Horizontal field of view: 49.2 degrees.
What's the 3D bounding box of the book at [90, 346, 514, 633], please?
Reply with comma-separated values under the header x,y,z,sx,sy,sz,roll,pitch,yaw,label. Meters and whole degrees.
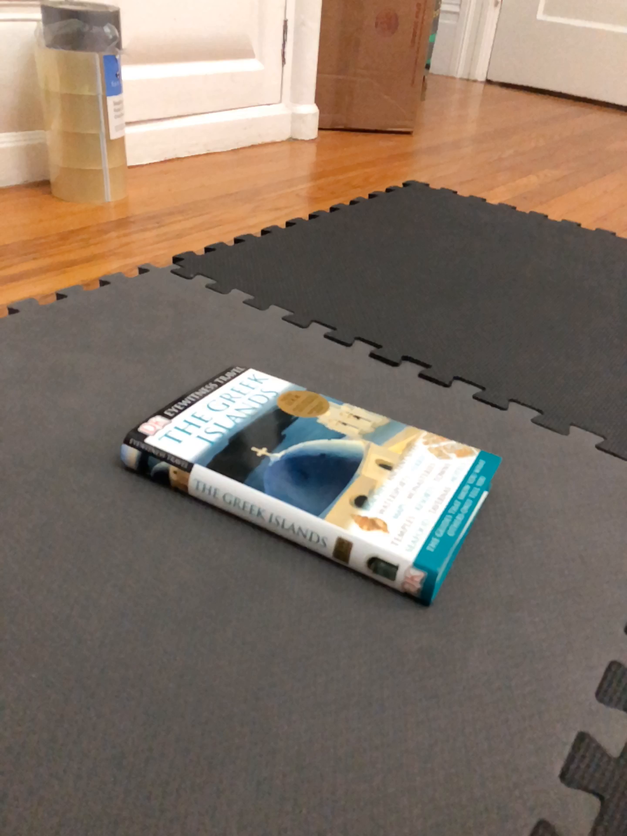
x,y,z,sx,sy,sz,roll,pitch,yaw,label
-0.004,0.029,0.471,0.240,0.030,0.161,21,36,21,book
